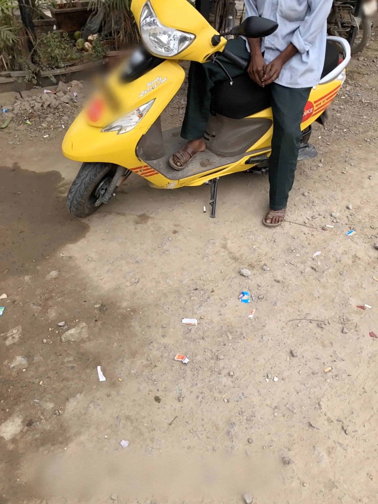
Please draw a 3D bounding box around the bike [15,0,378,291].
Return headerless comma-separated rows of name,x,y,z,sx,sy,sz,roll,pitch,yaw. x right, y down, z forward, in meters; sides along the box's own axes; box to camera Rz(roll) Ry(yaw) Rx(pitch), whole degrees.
bike,0.111,-0.768,2.319,1.658,1.160,0.892,-20,45,-22
